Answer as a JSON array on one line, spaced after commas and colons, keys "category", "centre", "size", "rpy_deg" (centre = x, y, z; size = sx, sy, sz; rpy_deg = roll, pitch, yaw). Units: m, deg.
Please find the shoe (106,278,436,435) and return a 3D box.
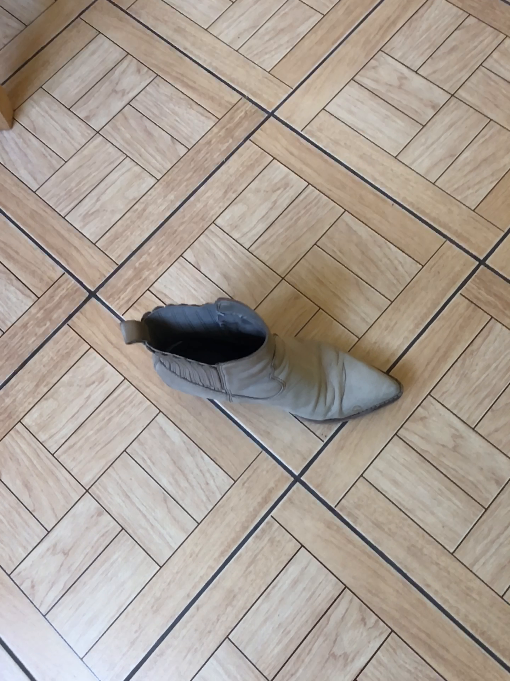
[{"category": "shoe", "centre": [0.020, 0.024, 0.540], "size": [0.260, 0.180, 0.090], "rpy_deg": [4, 74, 6]}]
